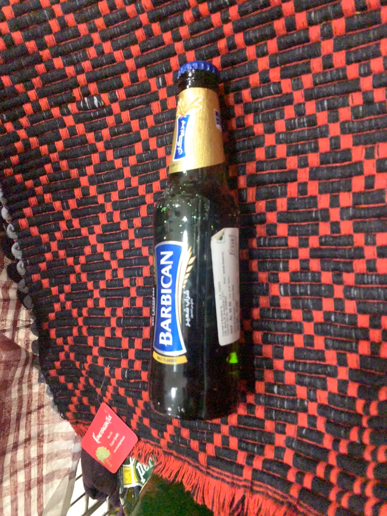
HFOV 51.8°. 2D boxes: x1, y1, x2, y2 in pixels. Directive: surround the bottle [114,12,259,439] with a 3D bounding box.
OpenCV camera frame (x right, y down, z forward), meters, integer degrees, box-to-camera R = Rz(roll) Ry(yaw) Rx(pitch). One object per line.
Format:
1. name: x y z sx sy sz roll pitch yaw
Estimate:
1. bottle: -0.001 -0.017 0.235 0.060 0.060 0.210 -1 86 30
